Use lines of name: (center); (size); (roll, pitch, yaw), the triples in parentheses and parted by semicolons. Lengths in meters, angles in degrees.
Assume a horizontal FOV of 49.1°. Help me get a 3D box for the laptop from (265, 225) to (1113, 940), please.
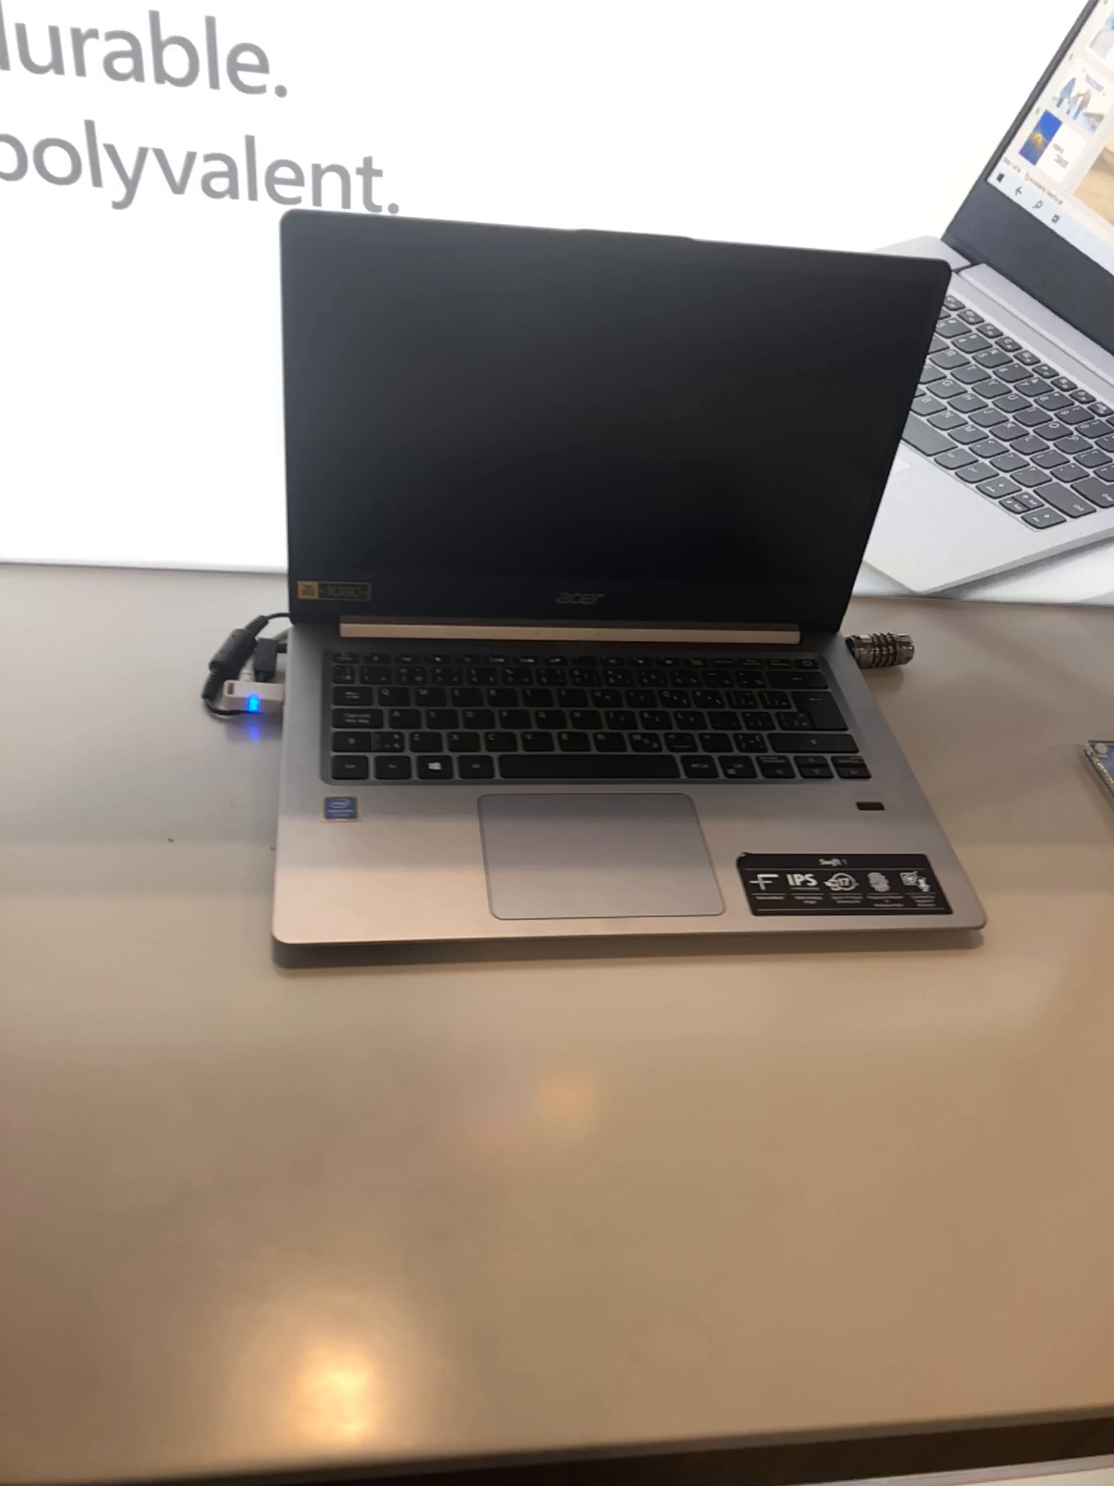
laptop: (0.038, -0.073, 0.542); (0.311, 0.210, 0.227); (0, 40, -10)
